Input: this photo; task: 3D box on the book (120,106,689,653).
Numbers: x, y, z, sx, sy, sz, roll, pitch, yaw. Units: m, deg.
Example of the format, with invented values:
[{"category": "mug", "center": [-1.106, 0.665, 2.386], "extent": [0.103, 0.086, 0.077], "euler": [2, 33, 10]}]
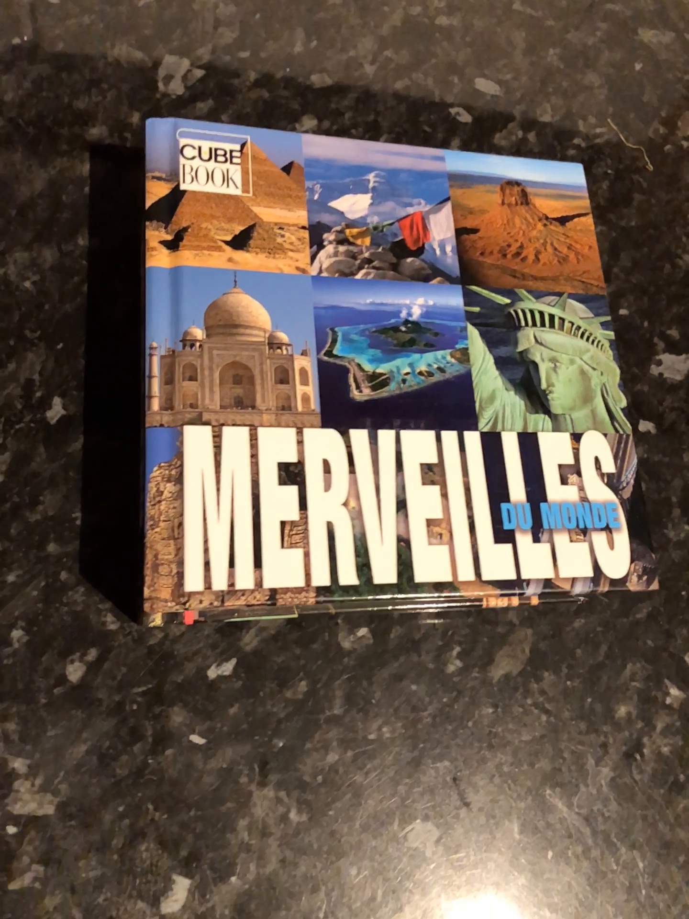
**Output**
[{"category": "book", "center": [0.014, -0.024, 0.260], "extent": [0.170, 0.060, 0.160], "euler": [0, 73, -14]}]
